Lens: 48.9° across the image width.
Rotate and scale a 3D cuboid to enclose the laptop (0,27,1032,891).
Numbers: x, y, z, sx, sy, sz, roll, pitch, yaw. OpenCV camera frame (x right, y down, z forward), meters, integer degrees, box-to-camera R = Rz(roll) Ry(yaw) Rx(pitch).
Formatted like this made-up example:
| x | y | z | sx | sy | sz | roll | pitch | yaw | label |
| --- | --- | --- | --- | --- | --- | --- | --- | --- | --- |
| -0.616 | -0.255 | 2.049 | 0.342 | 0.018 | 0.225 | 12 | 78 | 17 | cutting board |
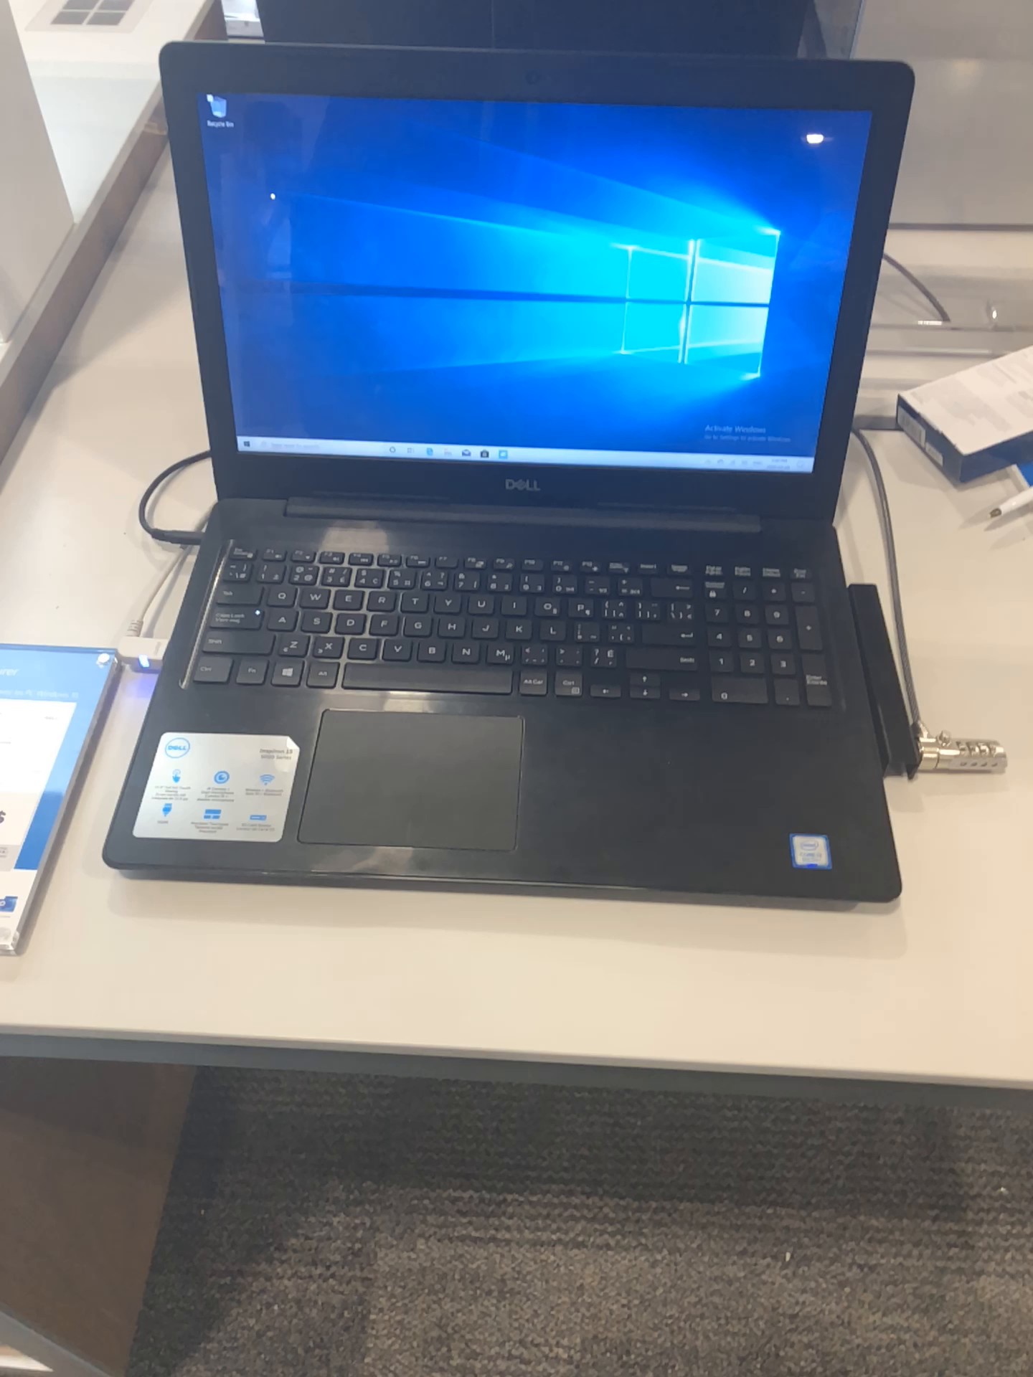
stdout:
| x | y | z | sx | sy | sz | roll | pitch | yaw | label |
| --- | --- | --- | --- | --- | --- | --- | --- | --- | --- |
| -0.001 | -0.119 | 0.548 | 0.363 | 0.224 | 0.337 | 2 | 53 | 2 | laptop |
